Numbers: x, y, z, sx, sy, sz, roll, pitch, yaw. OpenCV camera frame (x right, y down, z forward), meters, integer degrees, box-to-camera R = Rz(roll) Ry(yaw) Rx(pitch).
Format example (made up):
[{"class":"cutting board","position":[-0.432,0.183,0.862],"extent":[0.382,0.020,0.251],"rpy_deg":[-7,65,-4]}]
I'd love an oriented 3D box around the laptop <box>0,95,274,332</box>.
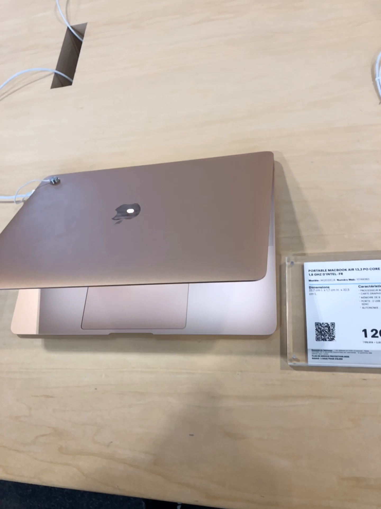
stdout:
[{"class":"laptop","position":[-0.066,-0.032,0.438],"extent":[0.288,0.093,0.203],"rpy_deg":[-3,64,16]}]
